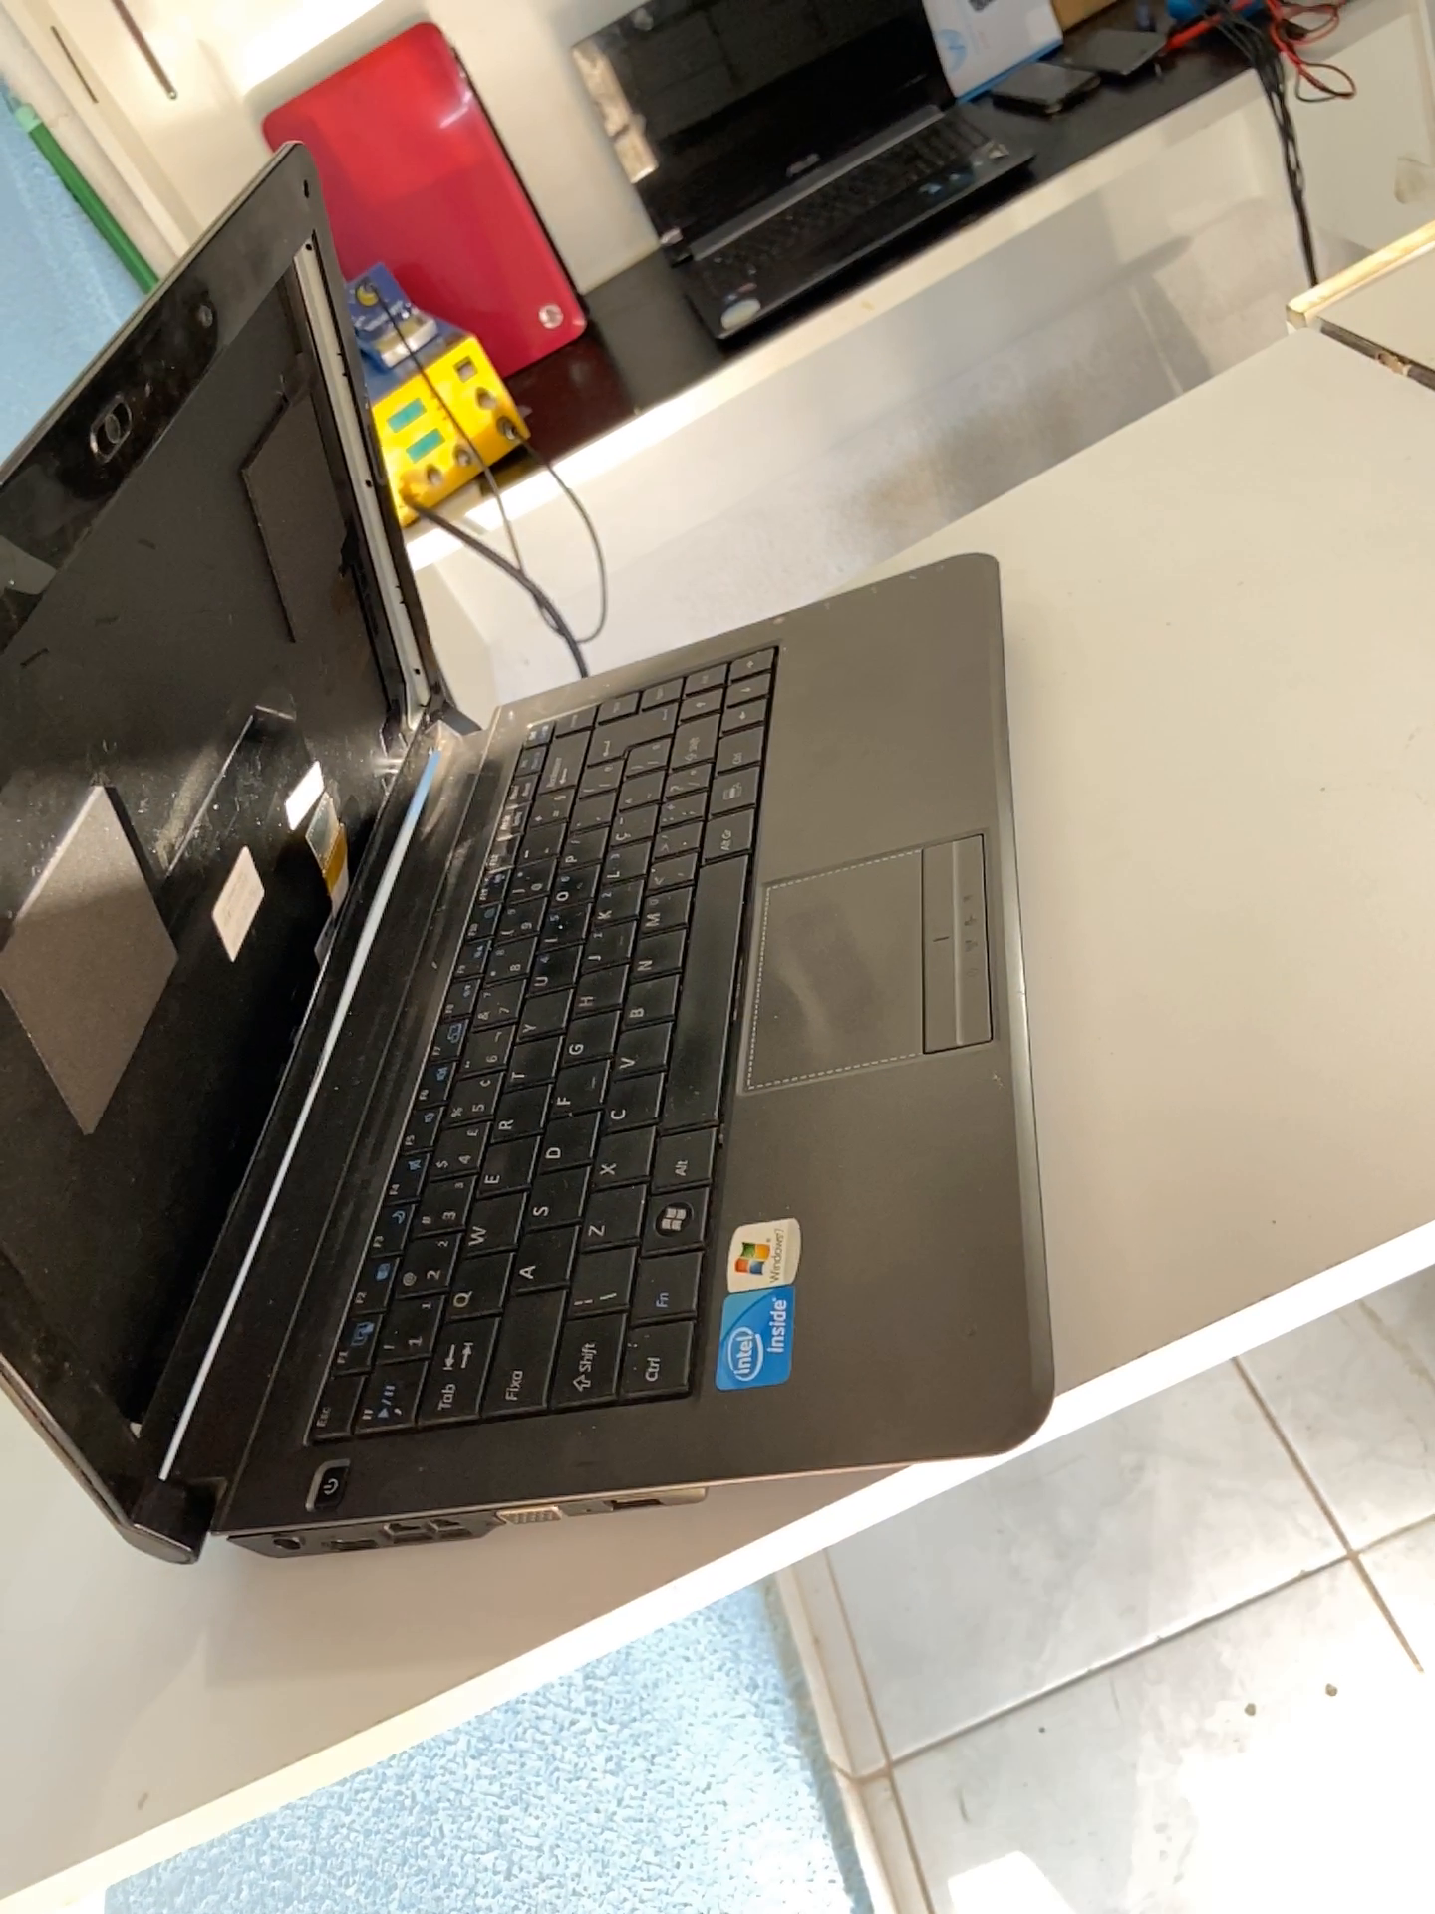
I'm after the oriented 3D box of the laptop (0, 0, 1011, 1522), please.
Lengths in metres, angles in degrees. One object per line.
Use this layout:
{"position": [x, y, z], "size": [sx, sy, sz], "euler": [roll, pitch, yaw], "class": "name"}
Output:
{"position": [-0.062, -0.065, 0.390], "size": [0.206, 0.206, 0.332], "euler": [-15, 42, 22], "class": "laptop"}
